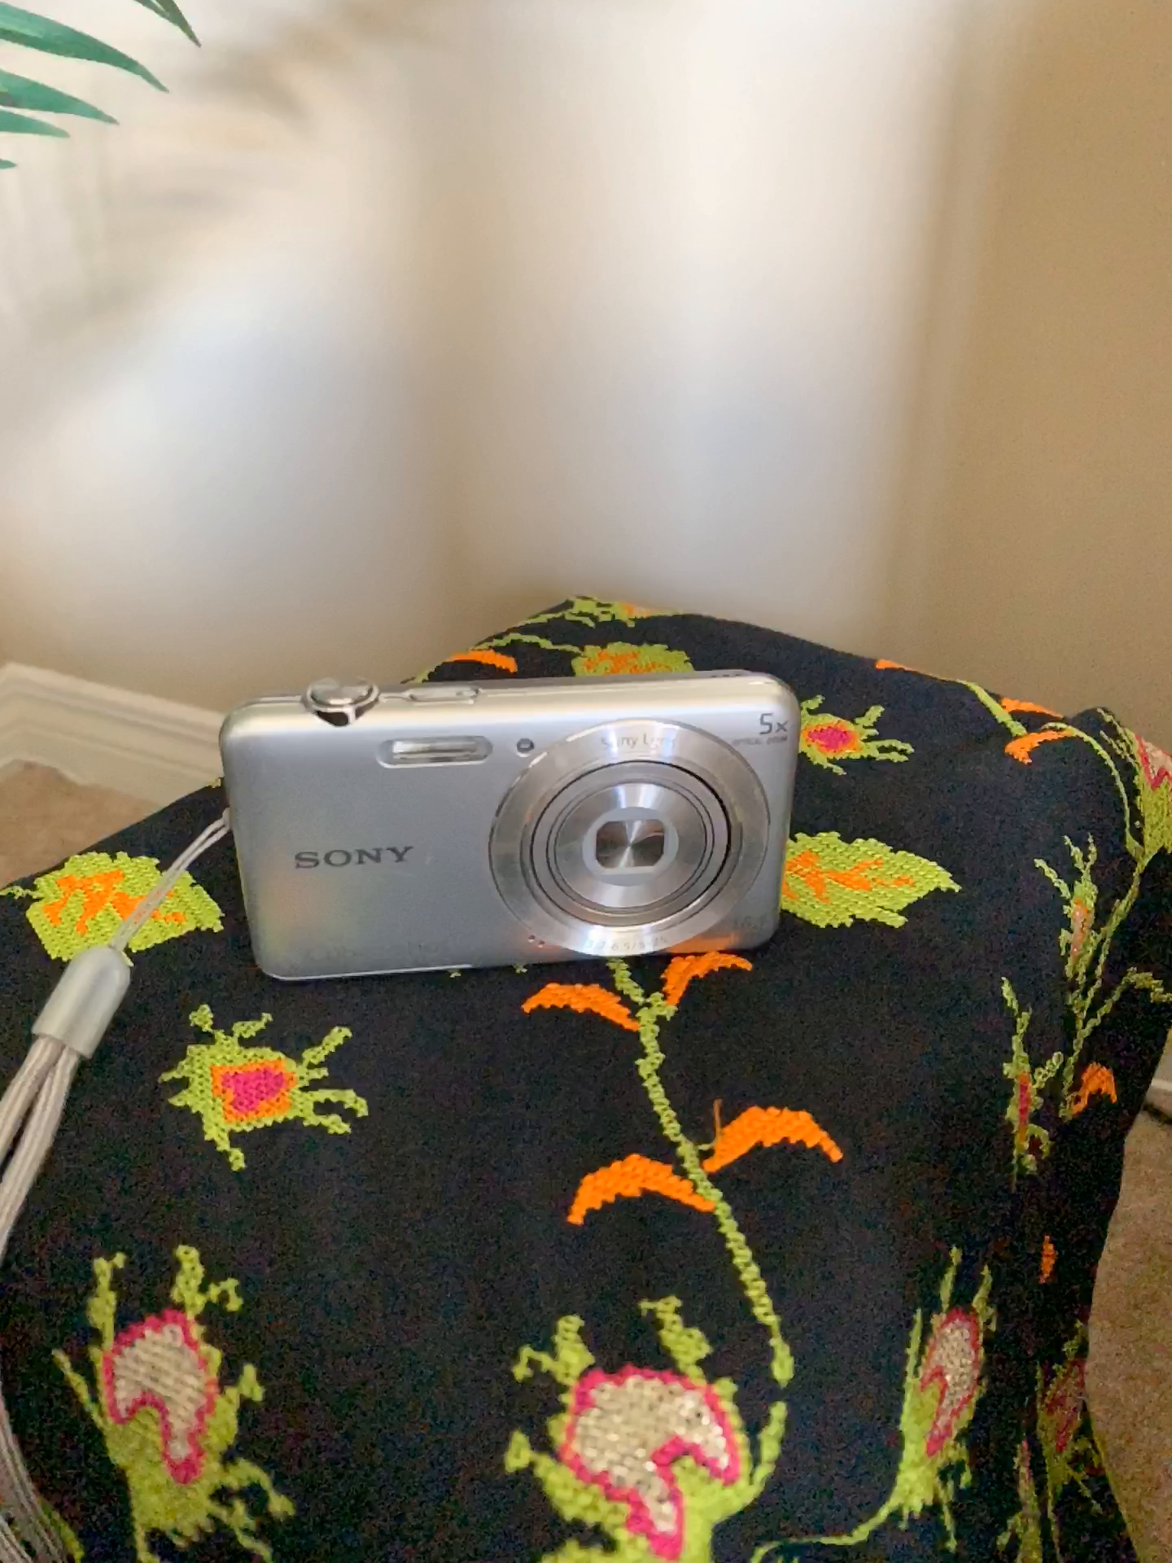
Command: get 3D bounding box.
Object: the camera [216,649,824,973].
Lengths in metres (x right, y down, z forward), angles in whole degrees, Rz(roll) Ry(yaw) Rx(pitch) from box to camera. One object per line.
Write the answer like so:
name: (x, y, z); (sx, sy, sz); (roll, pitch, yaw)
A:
camera: (-0.010, 0.004, 0.191); (0.086, 0.042, 0.020); (-3, 29, -6)
